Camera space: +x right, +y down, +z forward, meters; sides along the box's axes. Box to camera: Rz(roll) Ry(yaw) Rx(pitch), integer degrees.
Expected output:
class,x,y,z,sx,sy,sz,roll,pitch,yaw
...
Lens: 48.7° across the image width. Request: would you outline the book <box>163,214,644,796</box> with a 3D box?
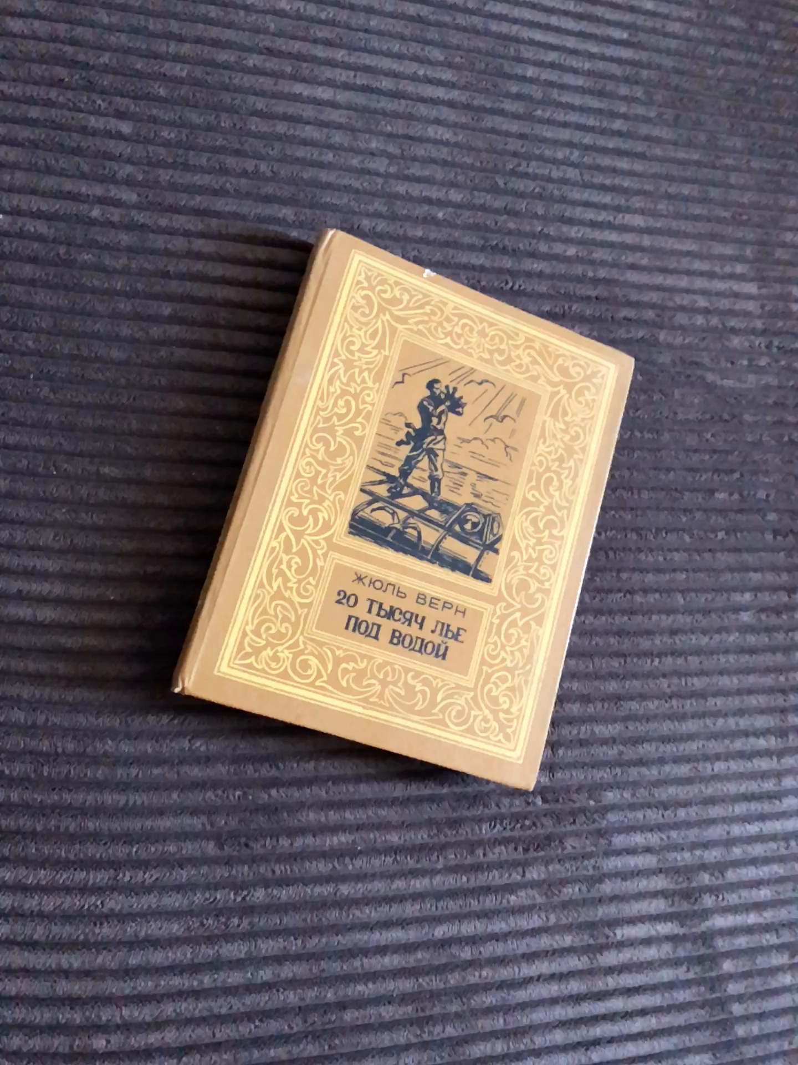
class,x,y,z,sx,sy,sz,roll,pitch,yaw
book,0.011,-0.011,0.407,0.170,0.029,0.219,19,77,-15
